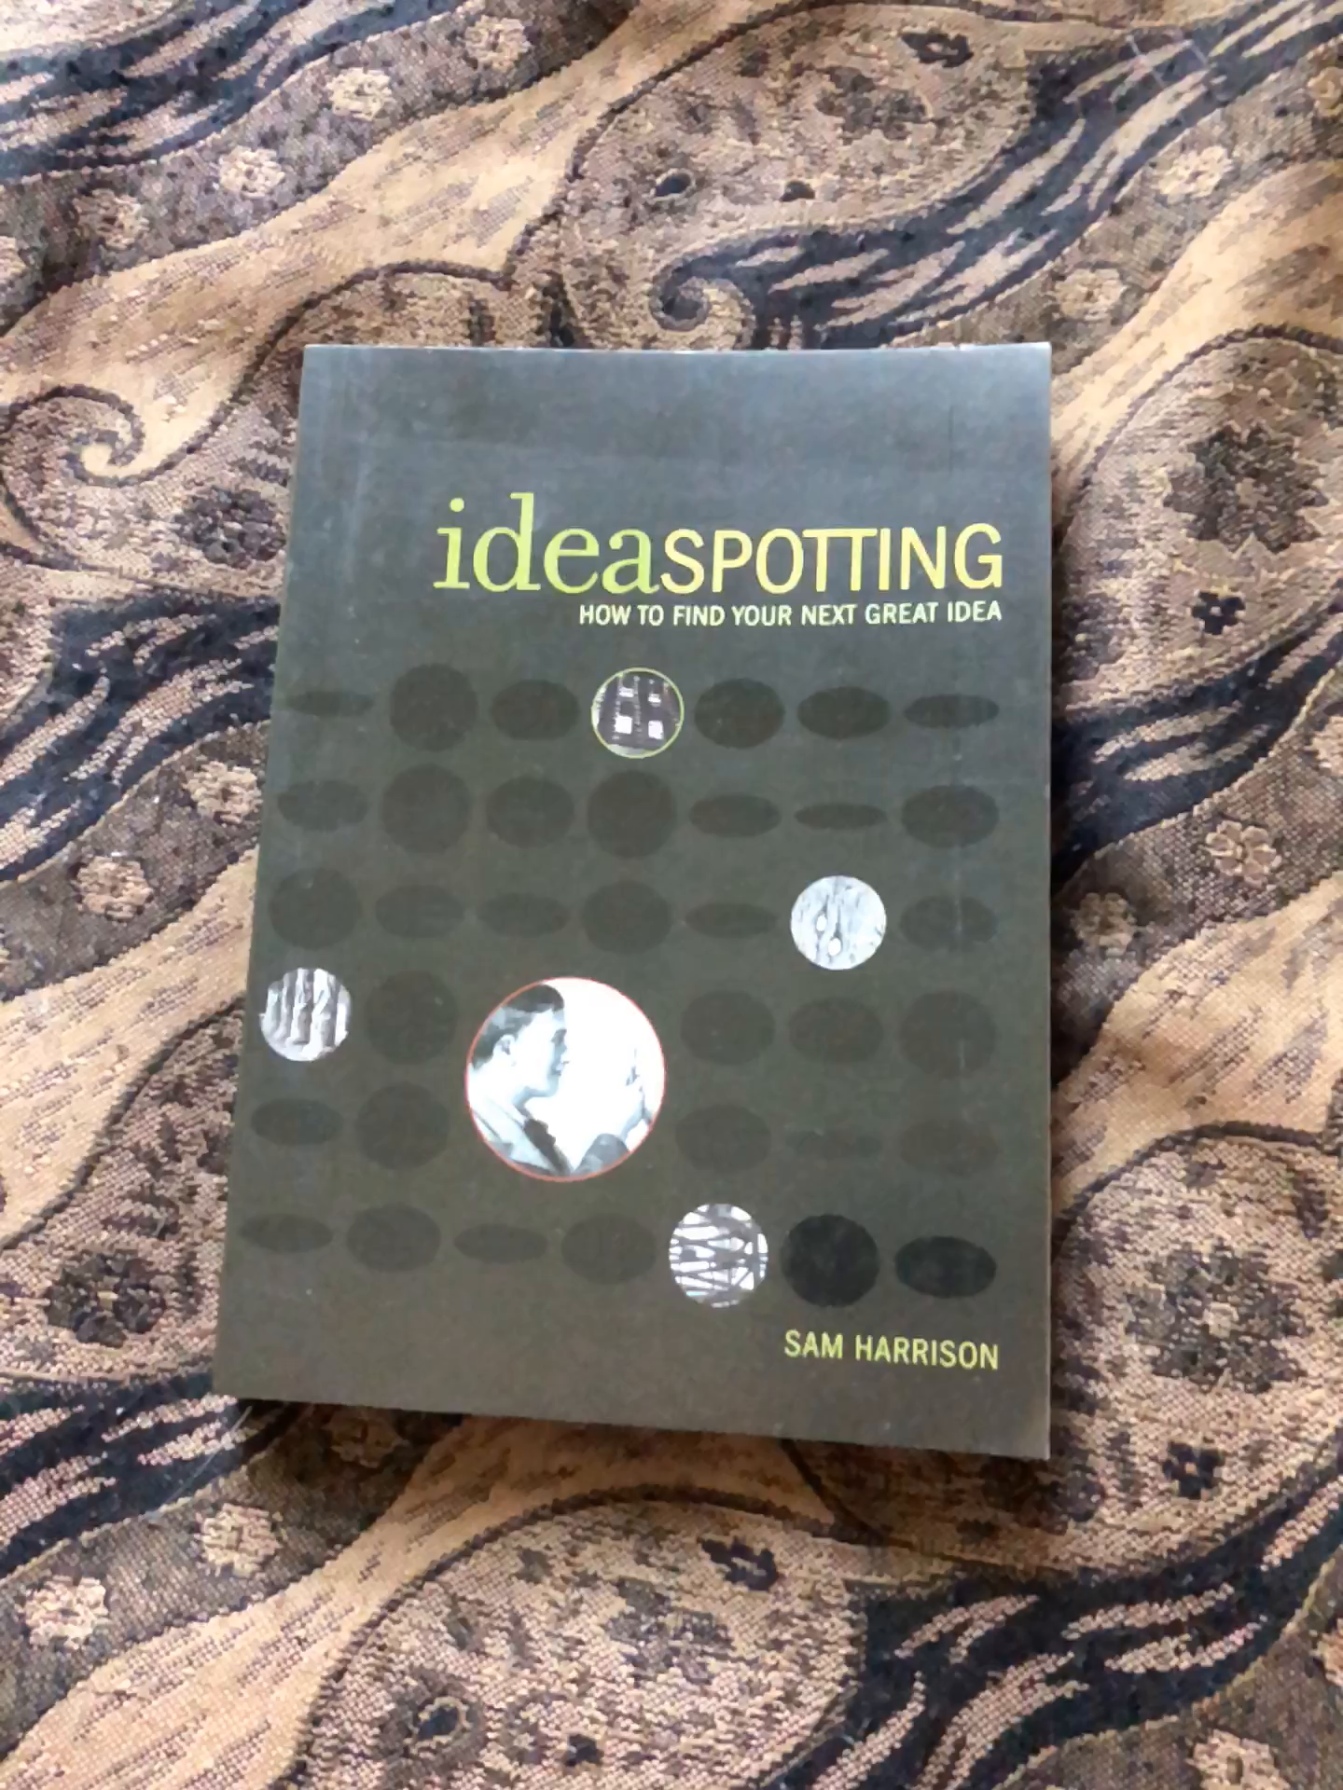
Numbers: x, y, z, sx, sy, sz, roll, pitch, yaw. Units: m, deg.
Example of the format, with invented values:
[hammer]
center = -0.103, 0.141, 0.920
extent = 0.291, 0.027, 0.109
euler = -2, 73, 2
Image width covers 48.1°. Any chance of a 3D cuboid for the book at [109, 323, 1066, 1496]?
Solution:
[book]
center = -0.008, -0.002, 0.254
extent = 0.140, 0.040, 0.180
euler = 2, 80, 6
